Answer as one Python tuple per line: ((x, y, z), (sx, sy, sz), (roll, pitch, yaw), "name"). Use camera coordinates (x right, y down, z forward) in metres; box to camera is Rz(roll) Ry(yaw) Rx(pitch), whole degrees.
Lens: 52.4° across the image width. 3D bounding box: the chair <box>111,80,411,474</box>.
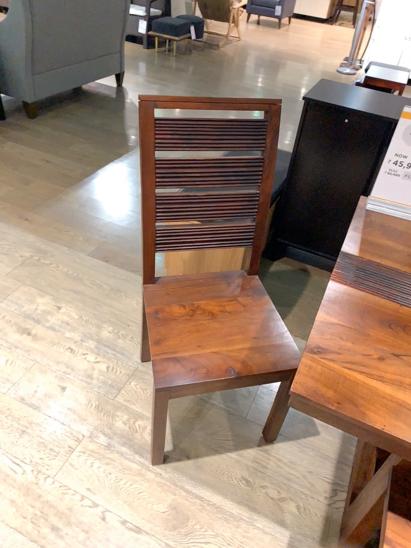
((0.032, 0.042, 1.236), (0.520, 0.996, 0.532), (-5, 41, -15), "chair")
